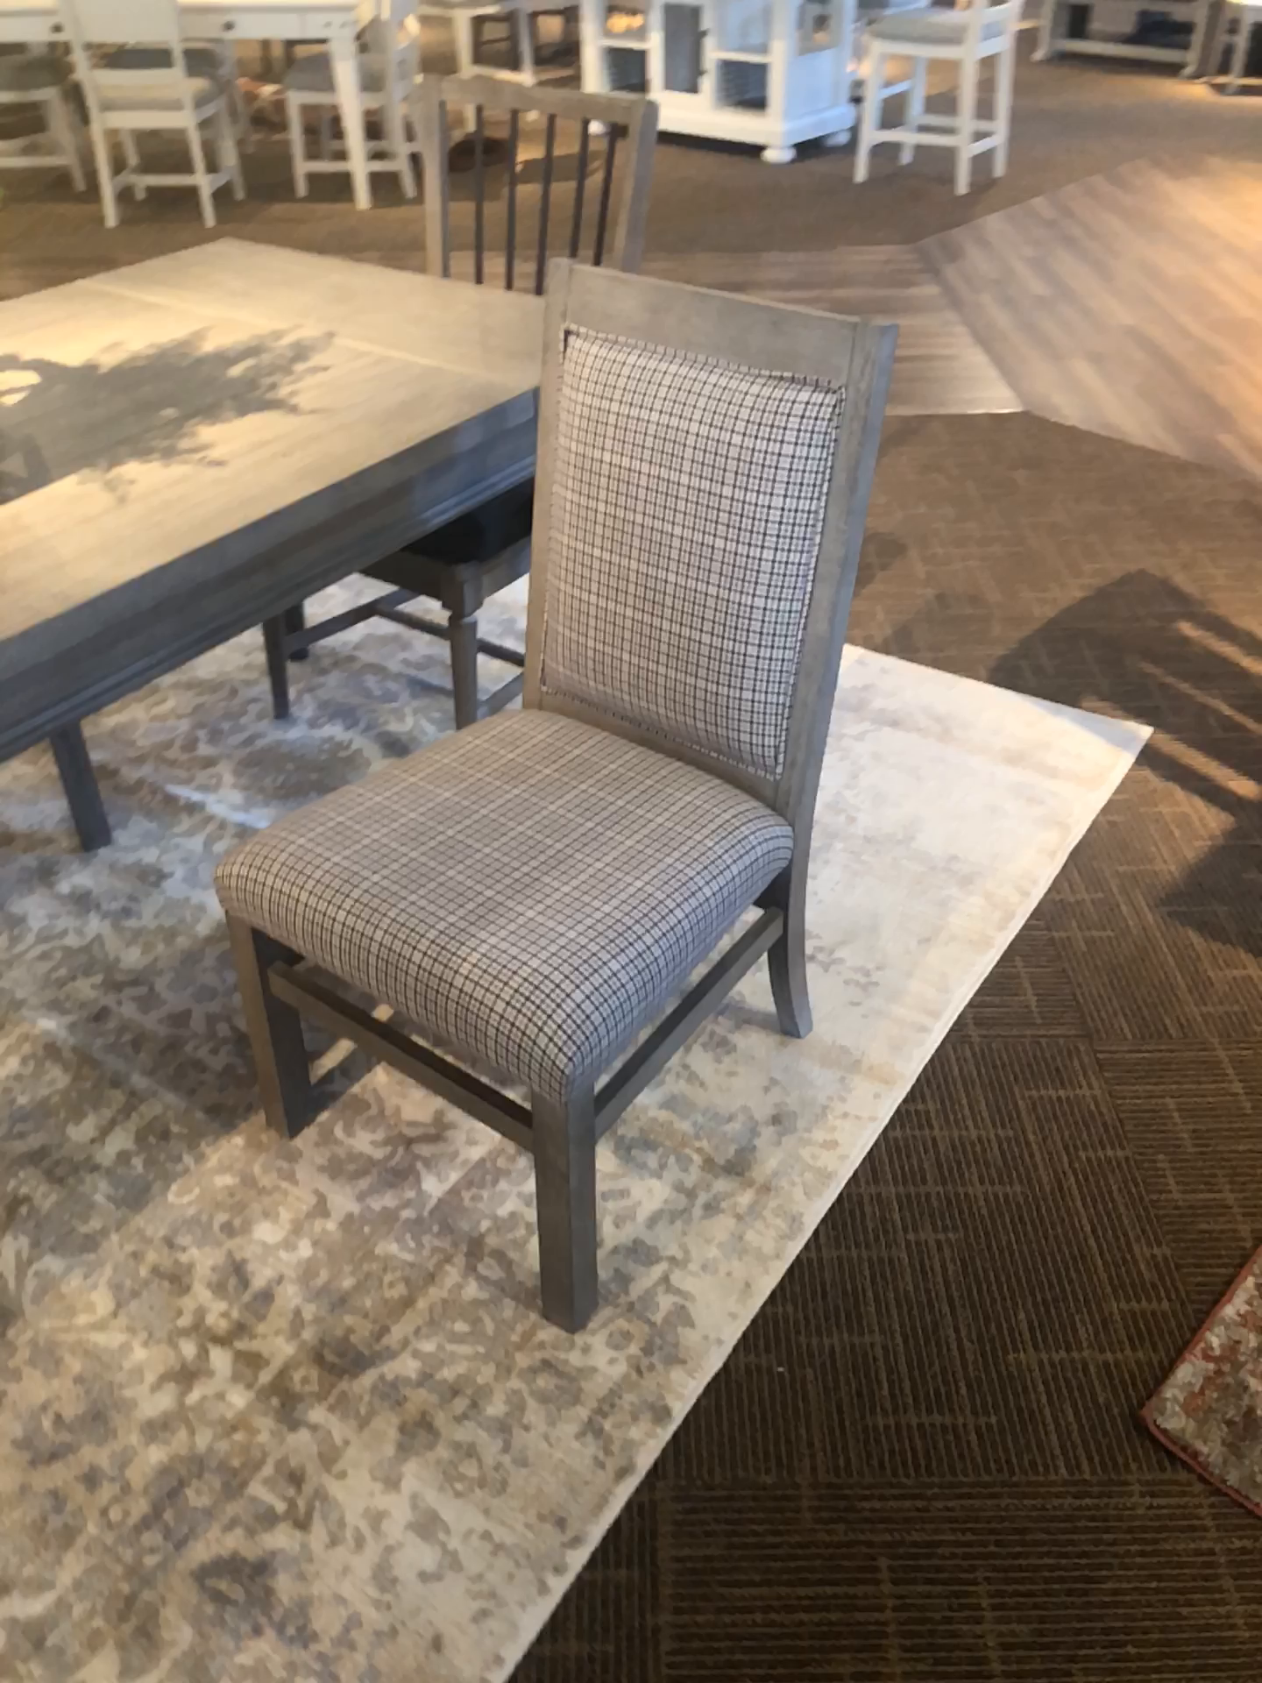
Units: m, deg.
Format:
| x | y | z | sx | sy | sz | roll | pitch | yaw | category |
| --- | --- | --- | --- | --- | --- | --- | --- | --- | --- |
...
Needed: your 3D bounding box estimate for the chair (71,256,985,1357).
| x | y | z | sx | sy | sz | roll | pitch | yaw | category |
| --- | --- | --- | --- | --- | --- | --- | --- | --- | --- |
| -0.061 | -0.071 | 1.492 | 0.511 | 0.865 | 0.663 | 24 | 43 | 30 | chair |
